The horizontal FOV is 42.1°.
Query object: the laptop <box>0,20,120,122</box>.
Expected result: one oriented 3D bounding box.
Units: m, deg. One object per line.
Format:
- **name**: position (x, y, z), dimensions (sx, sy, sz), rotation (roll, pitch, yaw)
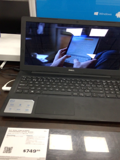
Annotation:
- **laptop**: position (0.051, -0.053, 0.530), dimensions (0.422, 0.192, 0.340), rotation (4, 38, 1)
